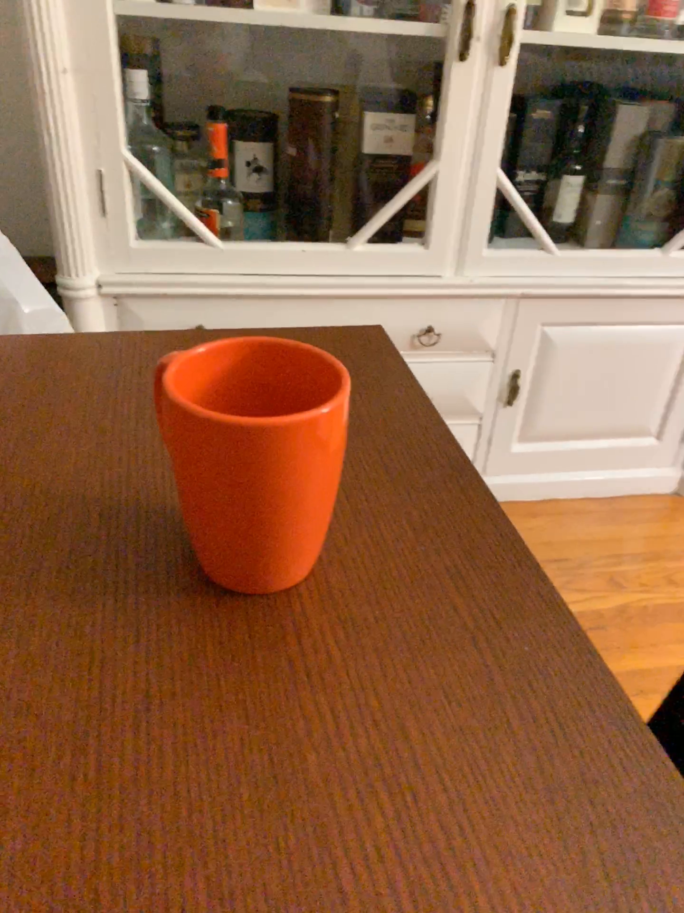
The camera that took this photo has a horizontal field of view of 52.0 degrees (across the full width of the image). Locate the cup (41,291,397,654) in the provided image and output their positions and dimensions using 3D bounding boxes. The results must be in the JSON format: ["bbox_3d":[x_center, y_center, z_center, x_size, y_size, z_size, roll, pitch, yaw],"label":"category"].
[{"bbox_3d":[-0.060,-0.002,0.354,0.131,0.109,0.100,25,39,29],"label":"cup"}]
